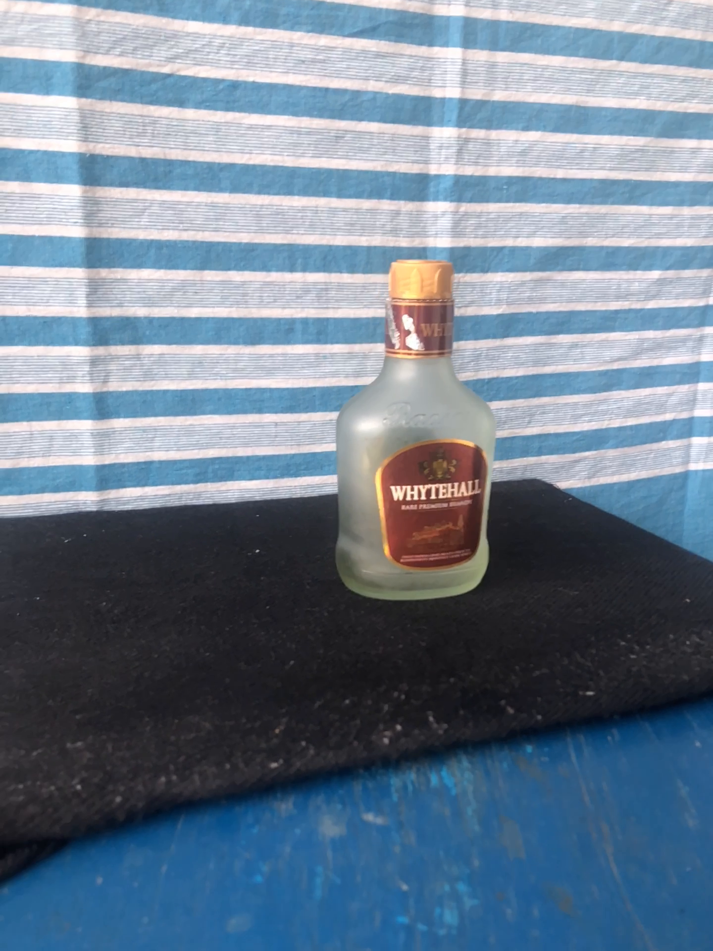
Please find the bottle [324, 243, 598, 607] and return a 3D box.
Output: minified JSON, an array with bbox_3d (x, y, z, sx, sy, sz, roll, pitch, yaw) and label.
[{"bbox_3d":[0.036,-0.023,0.316,0.080,0.130,0.060,-1,17,-16],"label":"bottle"}]
